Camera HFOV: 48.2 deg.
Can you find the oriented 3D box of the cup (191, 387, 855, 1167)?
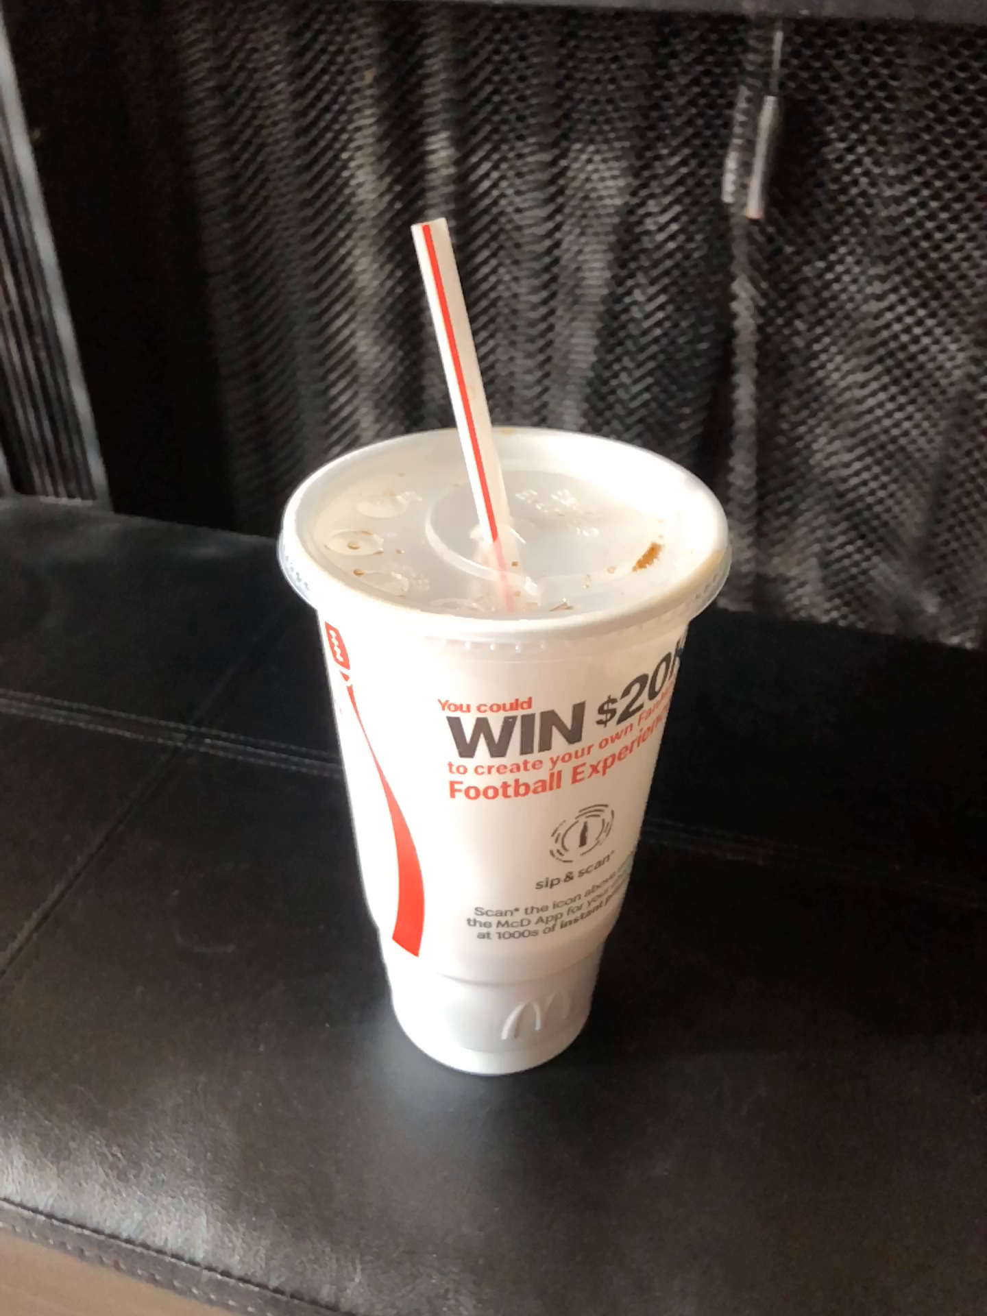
[{"bbox_3d":[-0.001,0.026,0.297,0.120,0.150,0.110,0,35,0],"label":"cup"}]
